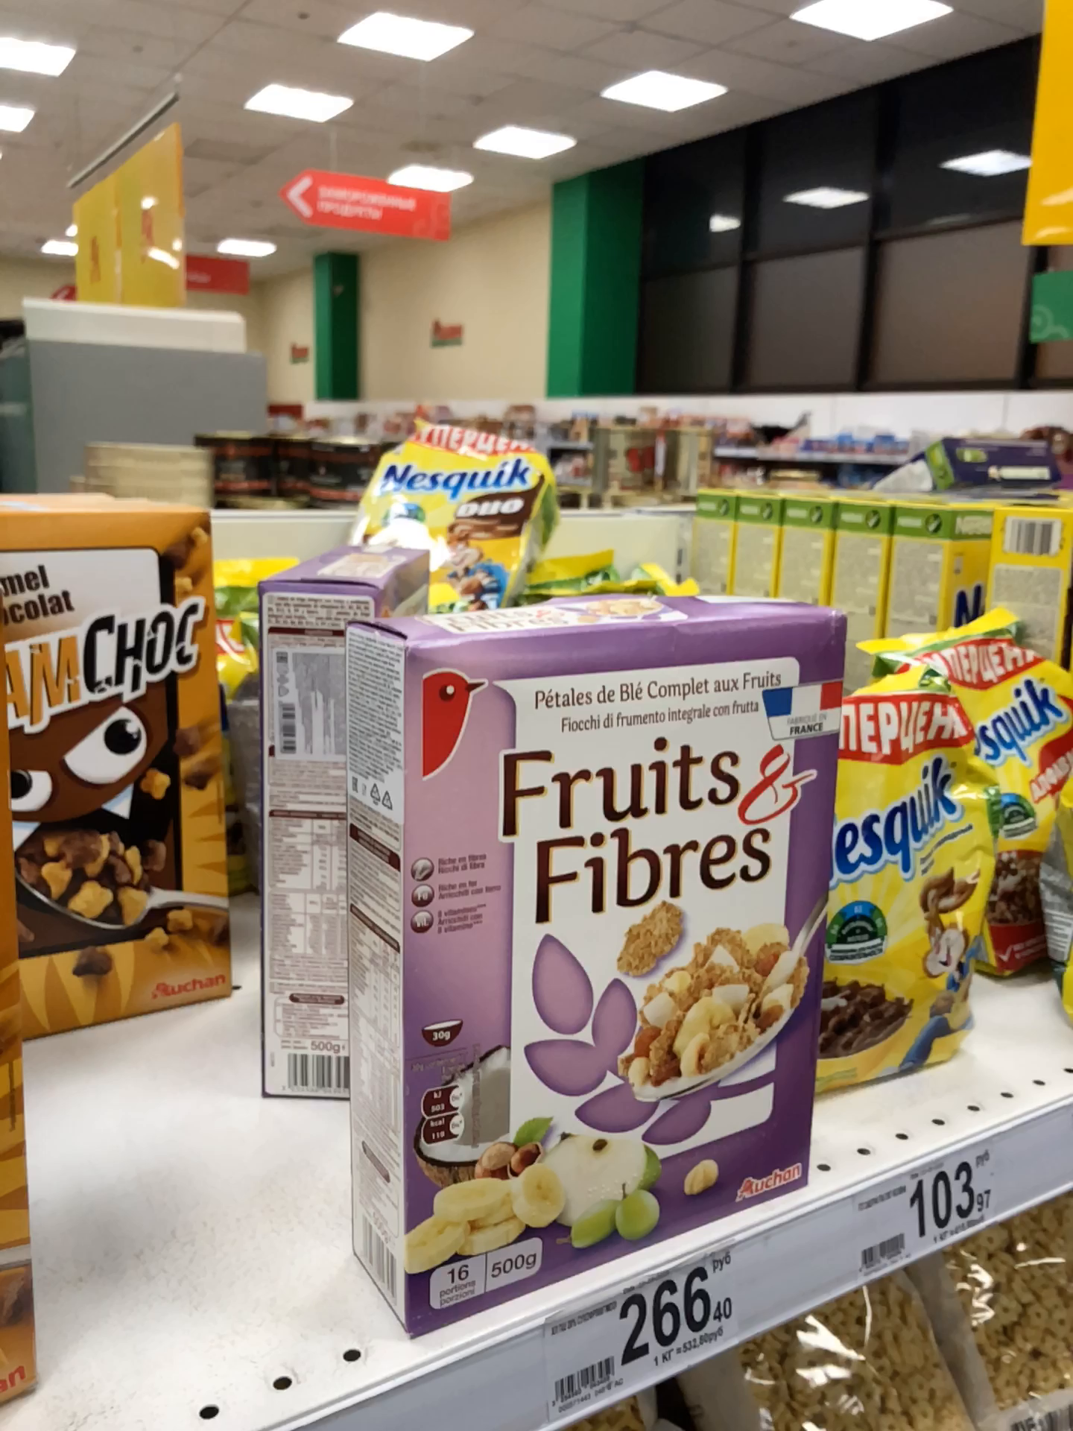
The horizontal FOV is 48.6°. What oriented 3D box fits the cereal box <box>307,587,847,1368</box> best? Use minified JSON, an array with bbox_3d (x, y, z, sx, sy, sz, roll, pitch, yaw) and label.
[{"bbox_3d":[0.019,0.086,0.466,0.200,0.259,0.060,-6,13,-30],"label":"cereal box"}]
